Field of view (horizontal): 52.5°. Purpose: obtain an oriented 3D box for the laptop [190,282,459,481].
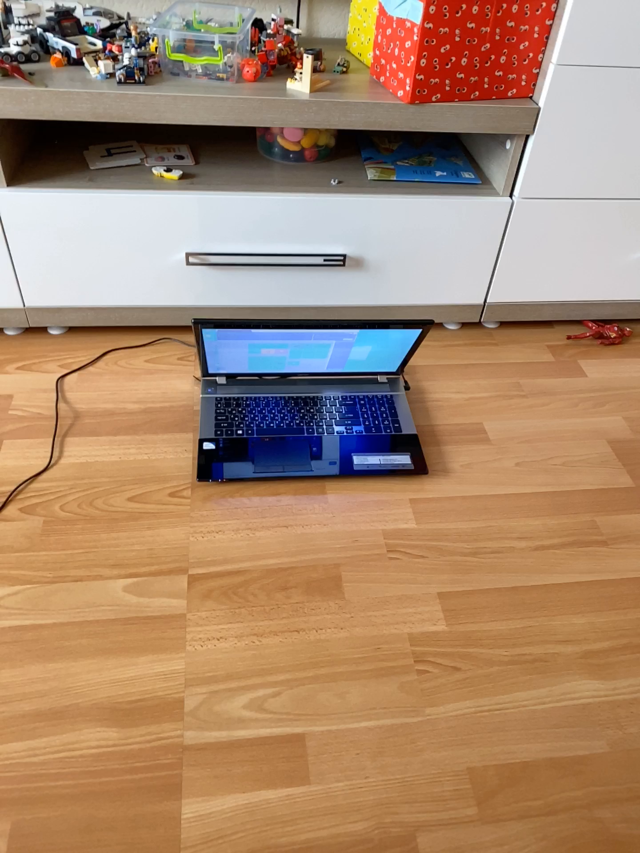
[{"bbox_3d":[-0.009,-0.086,1.163,0.411,0.233,0.270,-1,42,-7],"label":"laptop"}]
